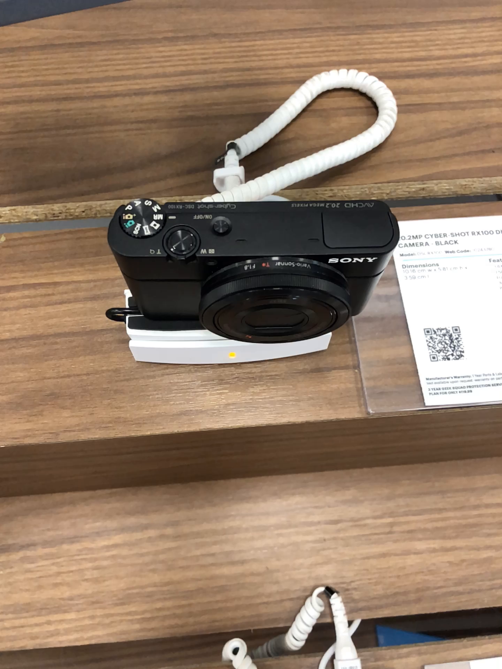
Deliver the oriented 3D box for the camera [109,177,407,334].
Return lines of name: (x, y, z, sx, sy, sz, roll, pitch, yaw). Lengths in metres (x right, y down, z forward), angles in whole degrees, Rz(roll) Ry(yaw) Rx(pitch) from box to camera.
camera: (0.001, -0.028, 0.227, 0.100, 0.070, 0.030, -2, 71, -1)
